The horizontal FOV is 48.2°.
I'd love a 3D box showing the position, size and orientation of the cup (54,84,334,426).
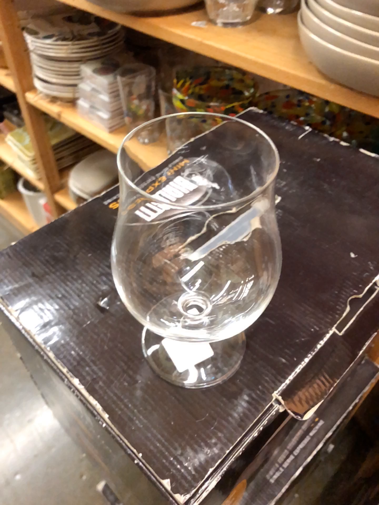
[{"bbox_3d":[0.002,0.007,0.225,0.082,0.145,0.079,0,47,0],"label":"cup"}]
